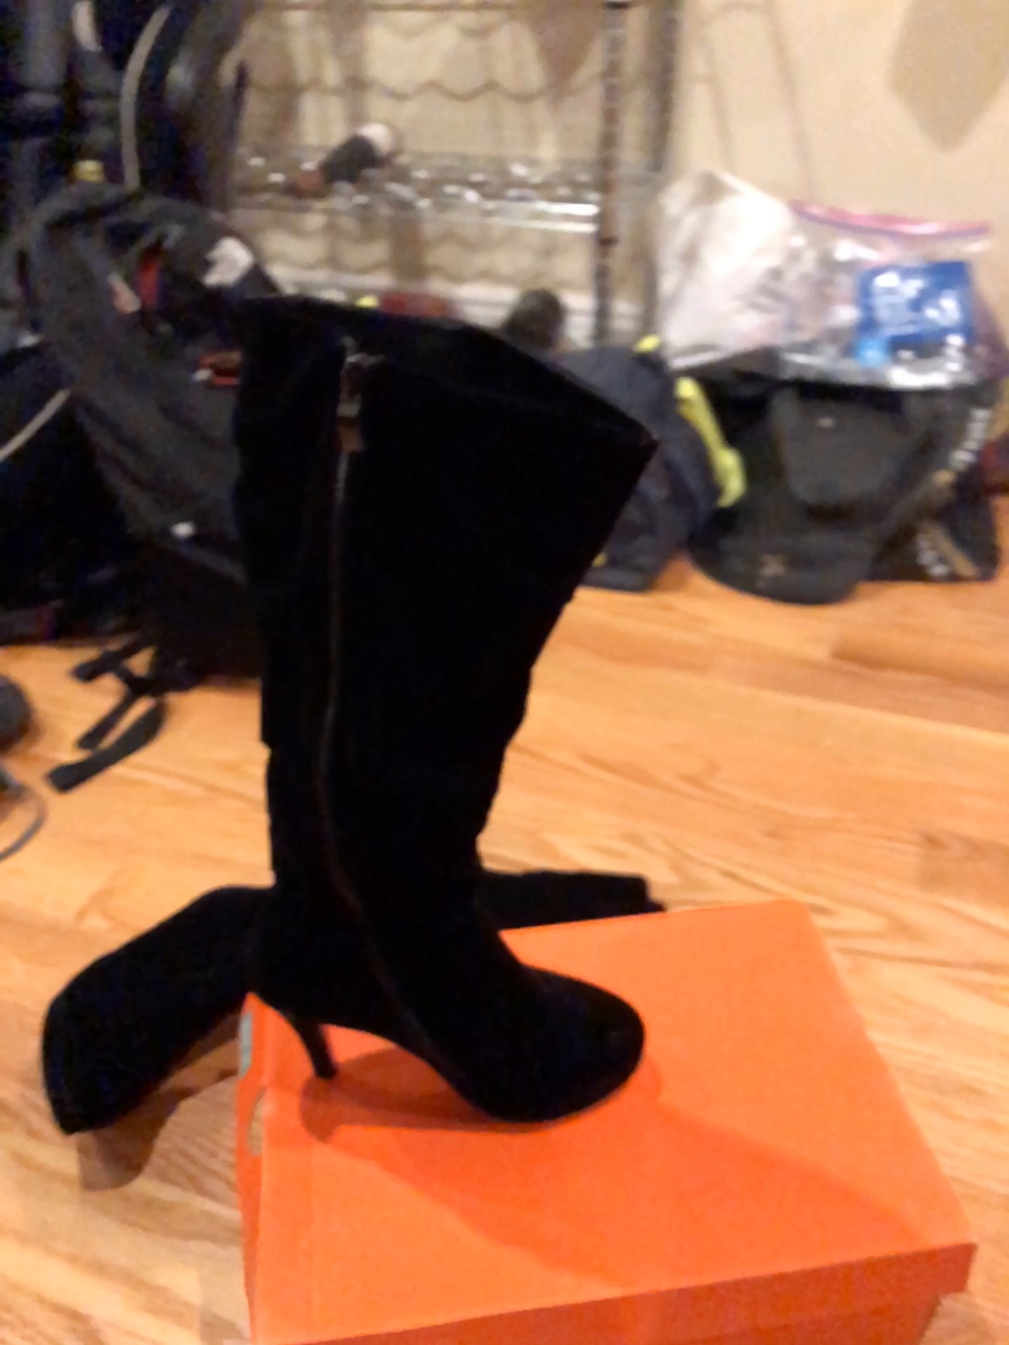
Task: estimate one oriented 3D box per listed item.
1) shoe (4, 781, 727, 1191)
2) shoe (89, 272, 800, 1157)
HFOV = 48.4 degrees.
[{"bbox_3d":[-0.085,0.188,0.733,0.399,0.089,0.207,-5,32,-8],"label":"shoe"},{"bbox_3d":[-0.021,0.043,0.487,0.216,0.397,0.090,-2,33,-4],"label":"shoe"}]
